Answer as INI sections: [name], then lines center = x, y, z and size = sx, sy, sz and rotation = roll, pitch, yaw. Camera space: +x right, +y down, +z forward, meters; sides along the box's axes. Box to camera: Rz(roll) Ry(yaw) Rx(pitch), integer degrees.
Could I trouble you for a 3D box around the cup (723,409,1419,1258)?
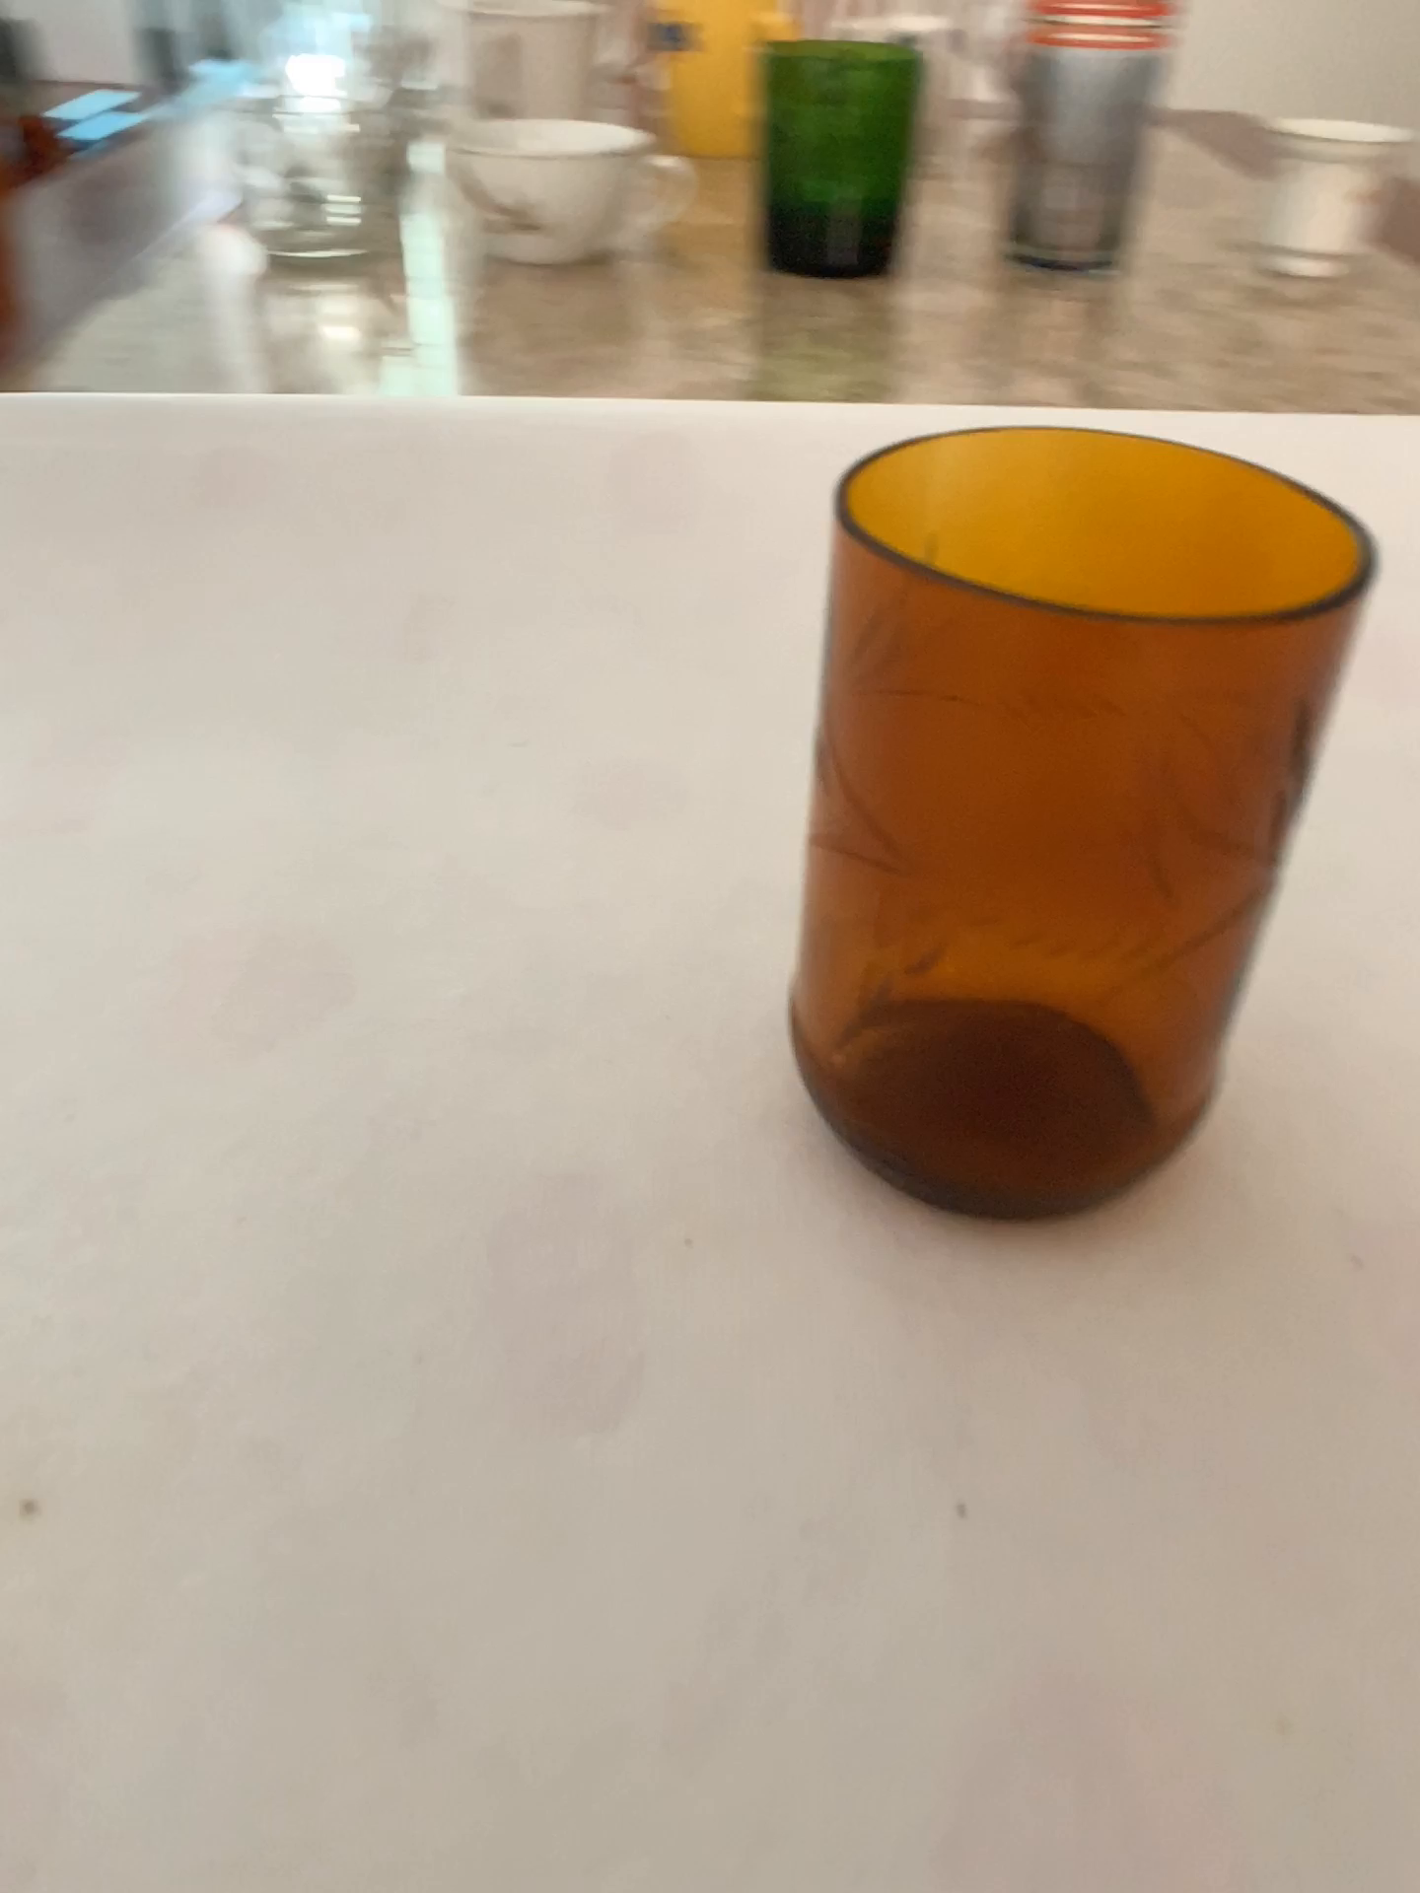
[cup]
center = 0.039, -0.015, 0.198
size = 0.070, 0.089, 0.070
rotation = 1, 36, -1
